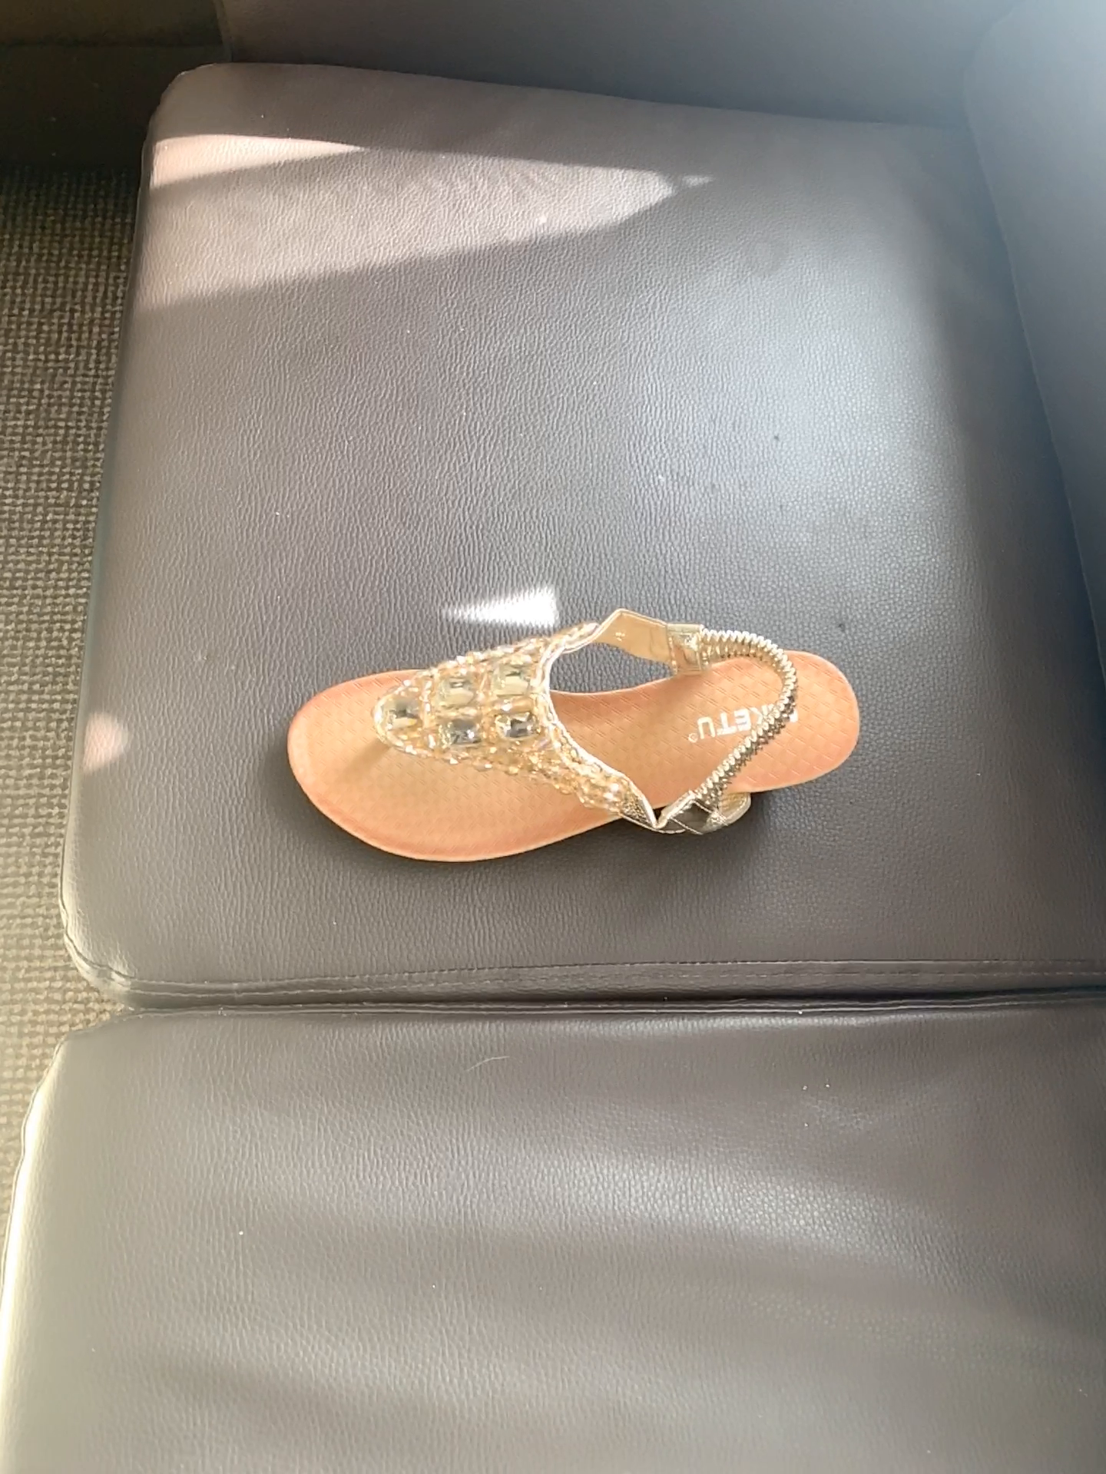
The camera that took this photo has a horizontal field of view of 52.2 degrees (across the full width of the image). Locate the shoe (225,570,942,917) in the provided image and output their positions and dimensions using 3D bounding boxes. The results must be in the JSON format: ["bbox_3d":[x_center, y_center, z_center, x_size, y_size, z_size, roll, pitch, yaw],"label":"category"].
[{"bbox_3d":[0.007,0.009,0.505,0.270,0.140,0.100,-3,71,-4],"label":"shoe"}]
